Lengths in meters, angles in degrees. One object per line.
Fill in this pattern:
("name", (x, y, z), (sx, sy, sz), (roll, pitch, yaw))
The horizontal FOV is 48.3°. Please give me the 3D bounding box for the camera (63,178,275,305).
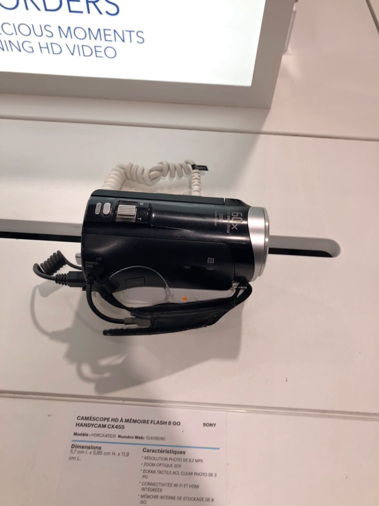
("camera", (-0.012, -0.006, 0.280), (0.121, 0.058, 0.057), (2, 56, -1))
